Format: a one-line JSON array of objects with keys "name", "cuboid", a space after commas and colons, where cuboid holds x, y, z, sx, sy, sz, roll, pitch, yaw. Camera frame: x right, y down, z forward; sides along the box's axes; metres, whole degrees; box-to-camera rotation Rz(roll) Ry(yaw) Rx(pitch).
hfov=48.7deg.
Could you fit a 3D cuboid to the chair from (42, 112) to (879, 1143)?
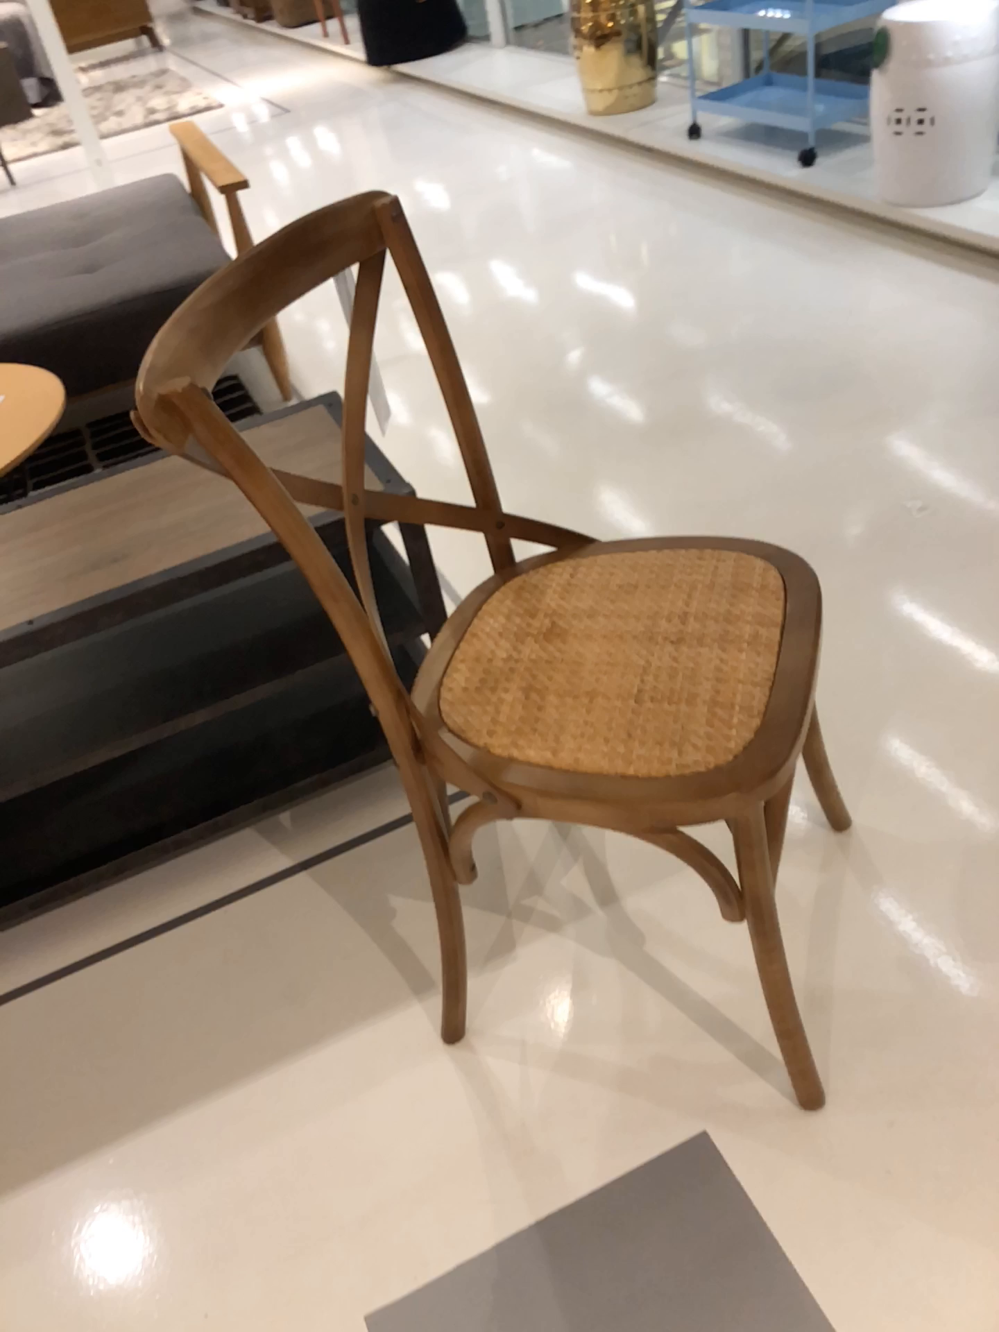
[{"name": "chair", "cuboid": [0.079, -0.015, 1.163, 0.571, 0.863, 0.504, 3, 40, 20]}]
